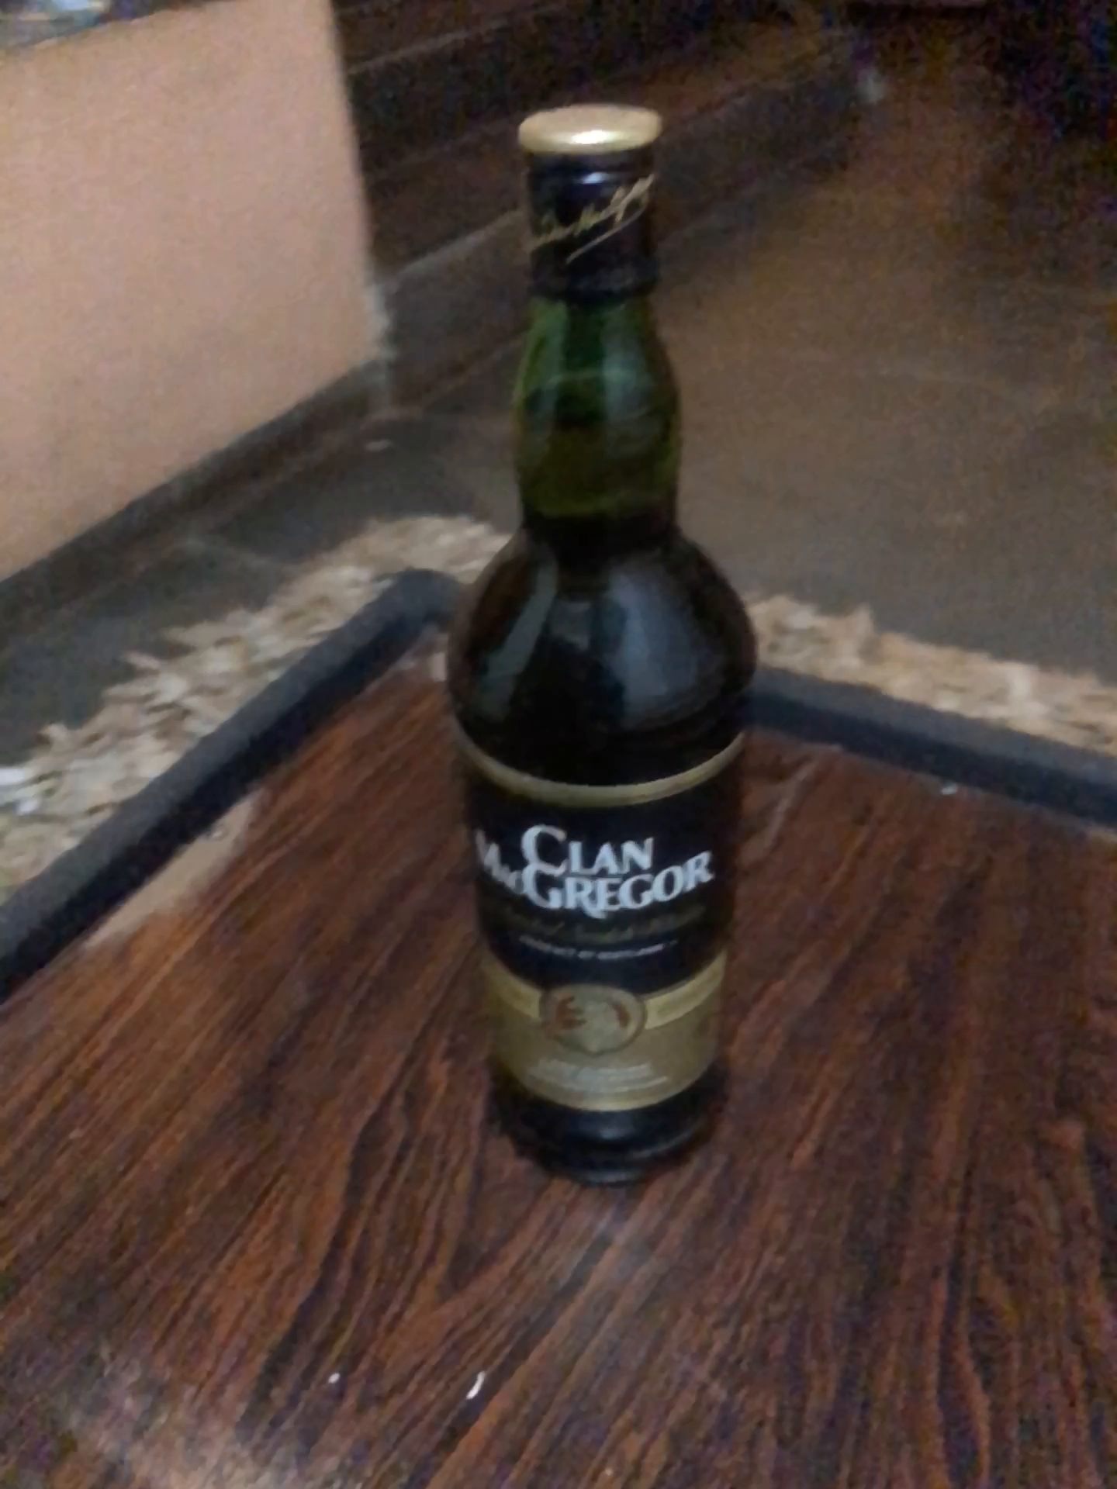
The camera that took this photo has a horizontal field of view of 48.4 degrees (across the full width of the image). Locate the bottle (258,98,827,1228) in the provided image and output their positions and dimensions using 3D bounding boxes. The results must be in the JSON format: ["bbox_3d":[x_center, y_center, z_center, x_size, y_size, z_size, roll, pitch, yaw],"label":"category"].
[{"bbox_3d":[0.011,-0.001,0.351,0.100,0.308,0.101,-2,38,2],"label":"bottle"}]
